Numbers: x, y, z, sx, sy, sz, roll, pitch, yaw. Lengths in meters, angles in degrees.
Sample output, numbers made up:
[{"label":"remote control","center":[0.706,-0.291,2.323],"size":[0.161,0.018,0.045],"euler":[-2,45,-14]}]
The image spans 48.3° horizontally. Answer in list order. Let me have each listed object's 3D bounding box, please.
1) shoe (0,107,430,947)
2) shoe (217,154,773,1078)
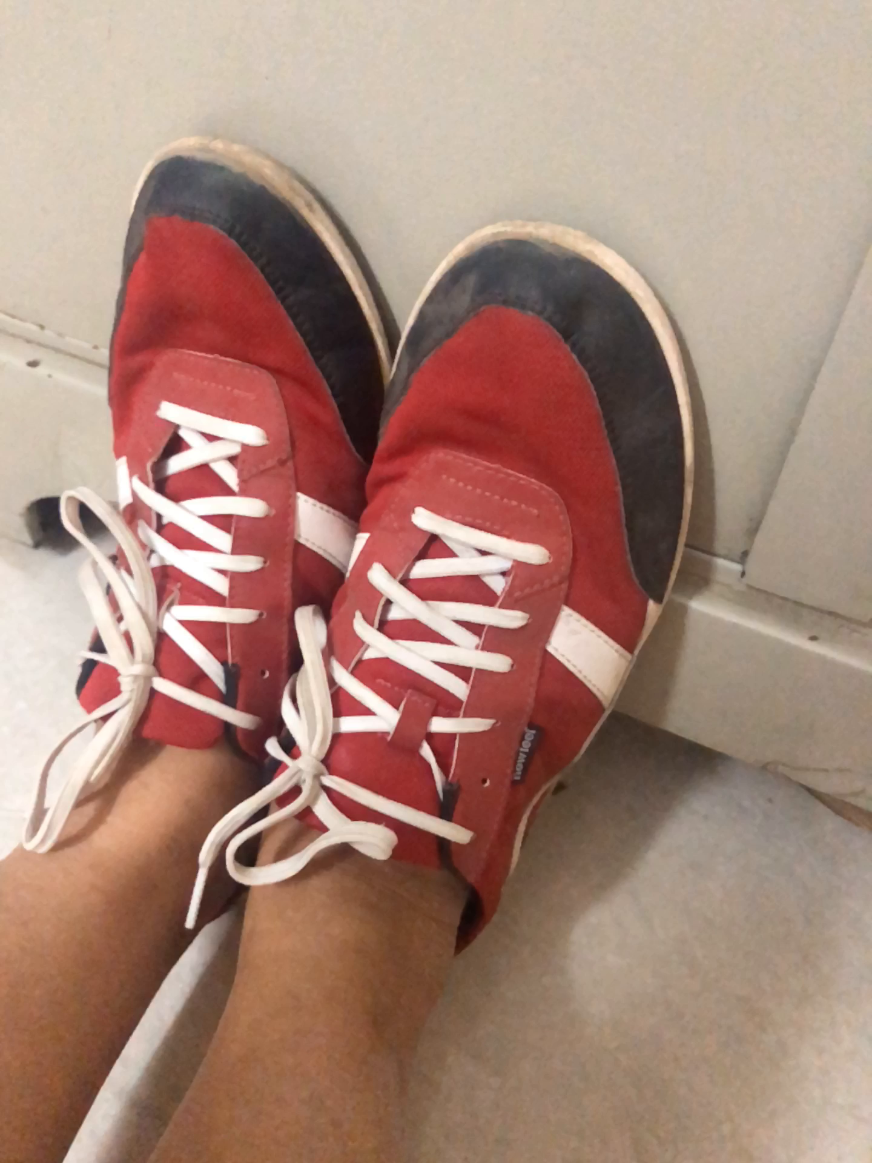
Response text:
[{"label":"shoe","center":[-0.069,-0.014,0.308],"size":[0.100,0.229,0.080],"euler":[8,19,6]},{"label":"shoe","center":[0.013,0.013,0.307],"size":[0.100,0.249,0.080],"euler":[19,20,14]}]
